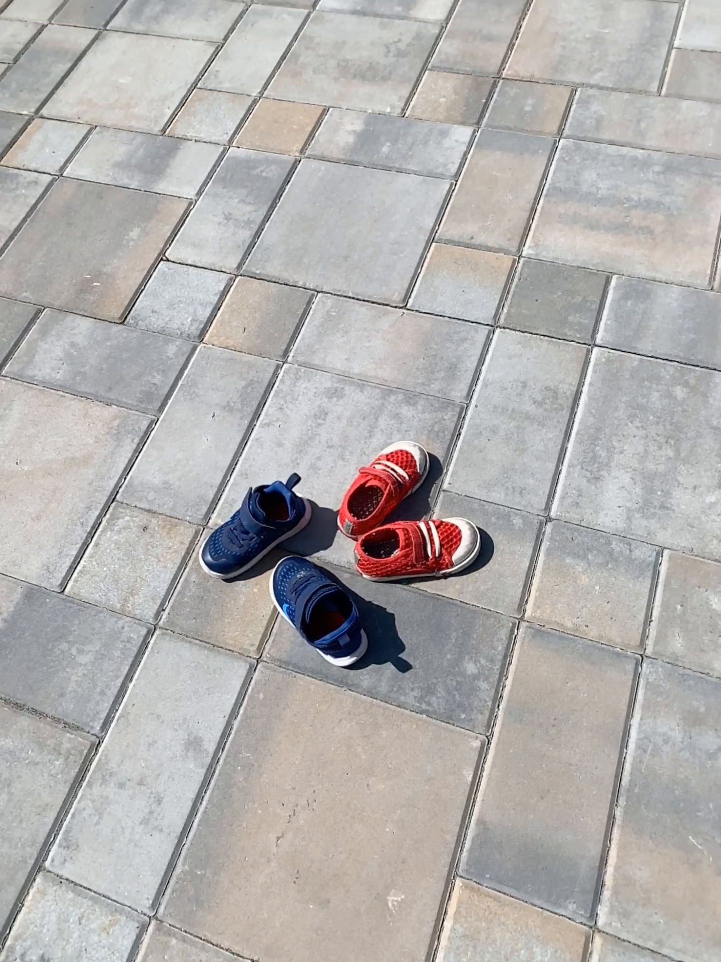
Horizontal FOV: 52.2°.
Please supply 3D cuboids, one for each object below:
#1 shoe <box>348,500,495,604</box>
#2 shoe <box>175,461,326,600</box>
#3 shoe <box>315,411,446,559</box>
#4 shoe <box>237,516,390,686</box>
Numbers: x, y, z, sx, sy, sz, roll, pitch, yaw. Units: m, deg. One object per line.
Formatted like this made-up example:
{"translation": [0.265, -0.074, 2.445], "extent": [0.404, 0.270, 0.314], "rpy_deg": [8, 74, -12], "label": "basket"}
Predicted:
{"translation": [0.077, 0.092, 0.950], "extent": [0.170, 0.070, 0.080], "rpy_deg": [-12, 61, 0], "label": "shoe"}
{"translation": [-0.142, 0.064, 0.968], "extent": [0.170, 0.070, 0.080], "rpy_deg": [-35, 63, -13], "label": "shoe"}
{"translation": [0.030, 0.004, 0.974], "extent": [0.080, 0.070, 0.170], "rpy_deg": [34, 70, 22], "label": "shoe"}
{"translation": [-0.059, 0.151, 0.936], "extent": [0.090, 0.090, 0.180], "rpy_deg": [-38, 64, -14], "label": "shoe"}
